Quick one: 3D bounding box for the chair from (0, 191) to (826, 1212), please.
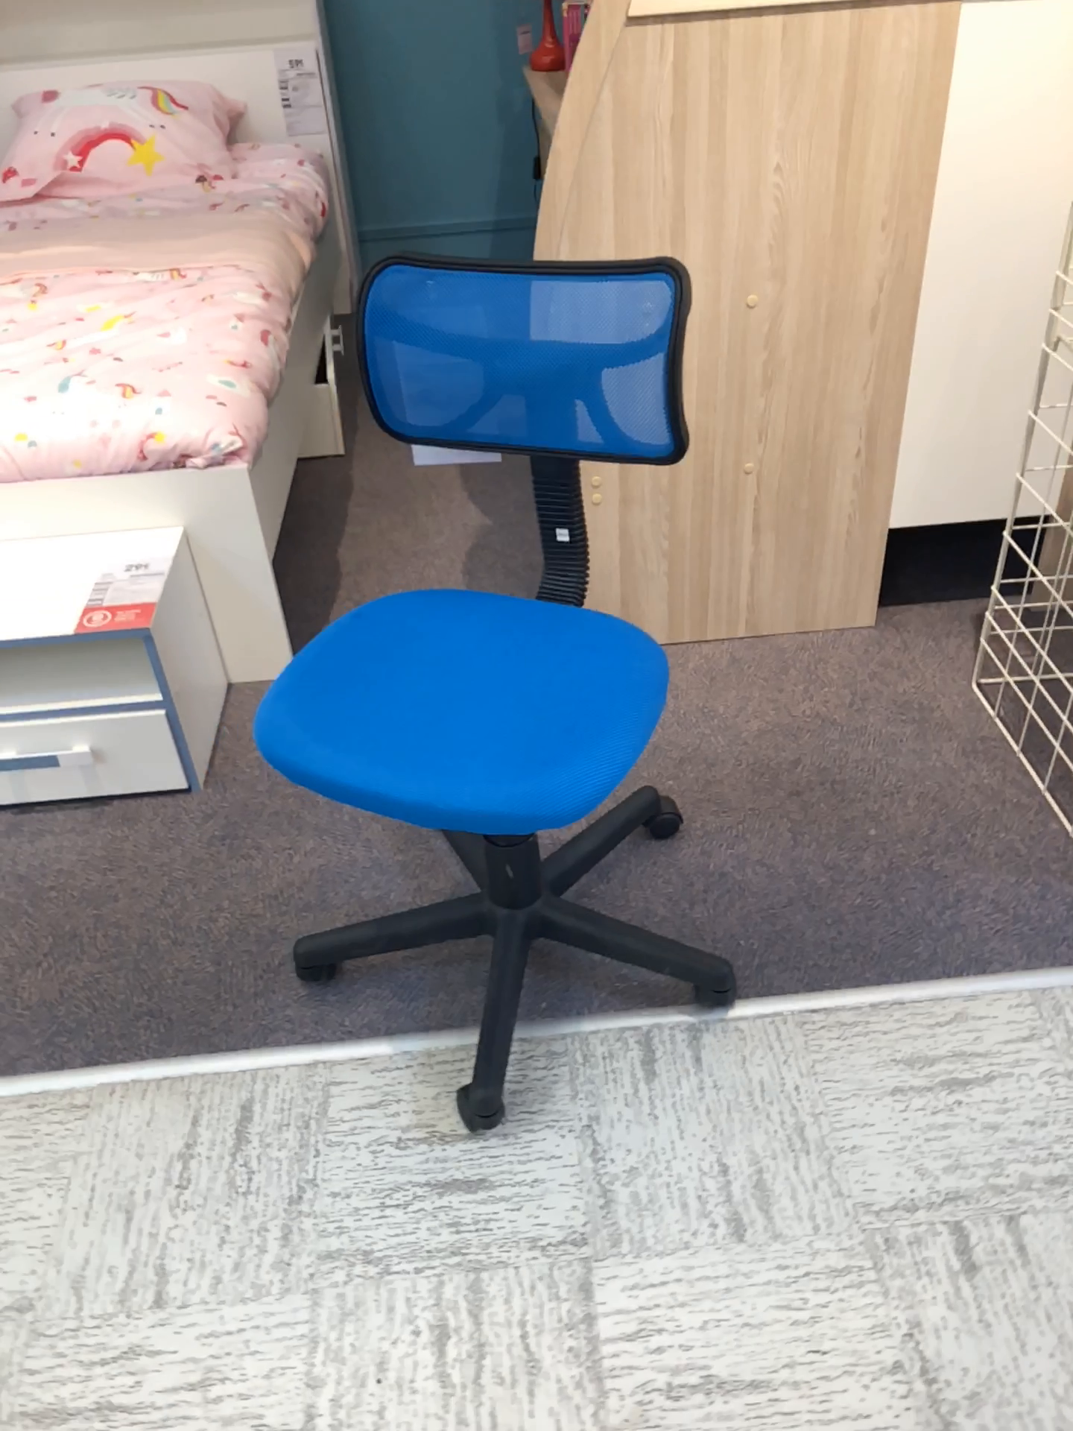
[{"bbox_3d":[-0.085,-0.043,1.226,0.660,0.795,0.614,6,38,13],"label":"chair"}]
